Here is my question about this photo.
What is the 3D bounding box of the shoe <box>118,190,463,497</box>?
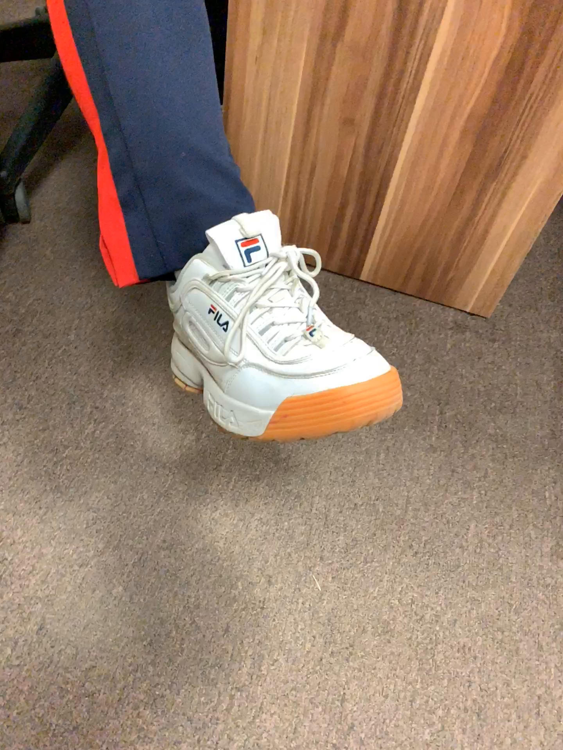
[{"bbox_3d":[-0.010,-0.046,0.431,0.130,0.130,0.230,-17,33,-31],"label":"shoe"}]
